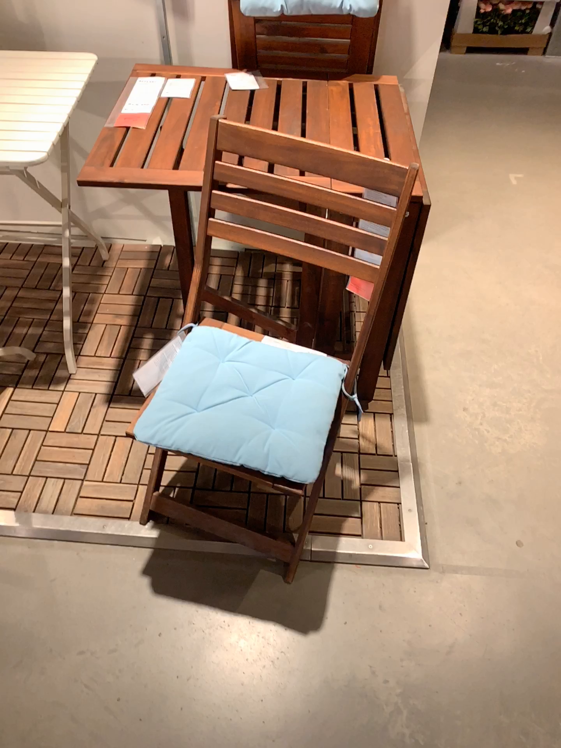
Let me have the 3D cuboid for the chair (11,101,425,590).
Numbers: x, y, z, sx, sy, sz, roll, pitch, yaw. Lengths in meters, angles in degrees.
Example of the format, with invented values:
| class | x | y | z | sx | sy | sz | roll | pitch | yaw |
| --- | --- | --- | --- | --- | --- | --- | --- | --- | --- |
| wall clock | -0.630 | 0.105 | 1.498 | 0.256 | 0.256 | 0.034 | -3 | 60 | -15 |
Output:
| class | x | y | z | sx | sy | sz | roll | pitch | yaw |
| --- | --- | --- | --- | --- | --- | --- | --- | --- | --- |
| chair | -0.068 | -0.027 | 1.189 | 0.470 | 0.778 | 0.521 | 17 | 50 | 13 |
